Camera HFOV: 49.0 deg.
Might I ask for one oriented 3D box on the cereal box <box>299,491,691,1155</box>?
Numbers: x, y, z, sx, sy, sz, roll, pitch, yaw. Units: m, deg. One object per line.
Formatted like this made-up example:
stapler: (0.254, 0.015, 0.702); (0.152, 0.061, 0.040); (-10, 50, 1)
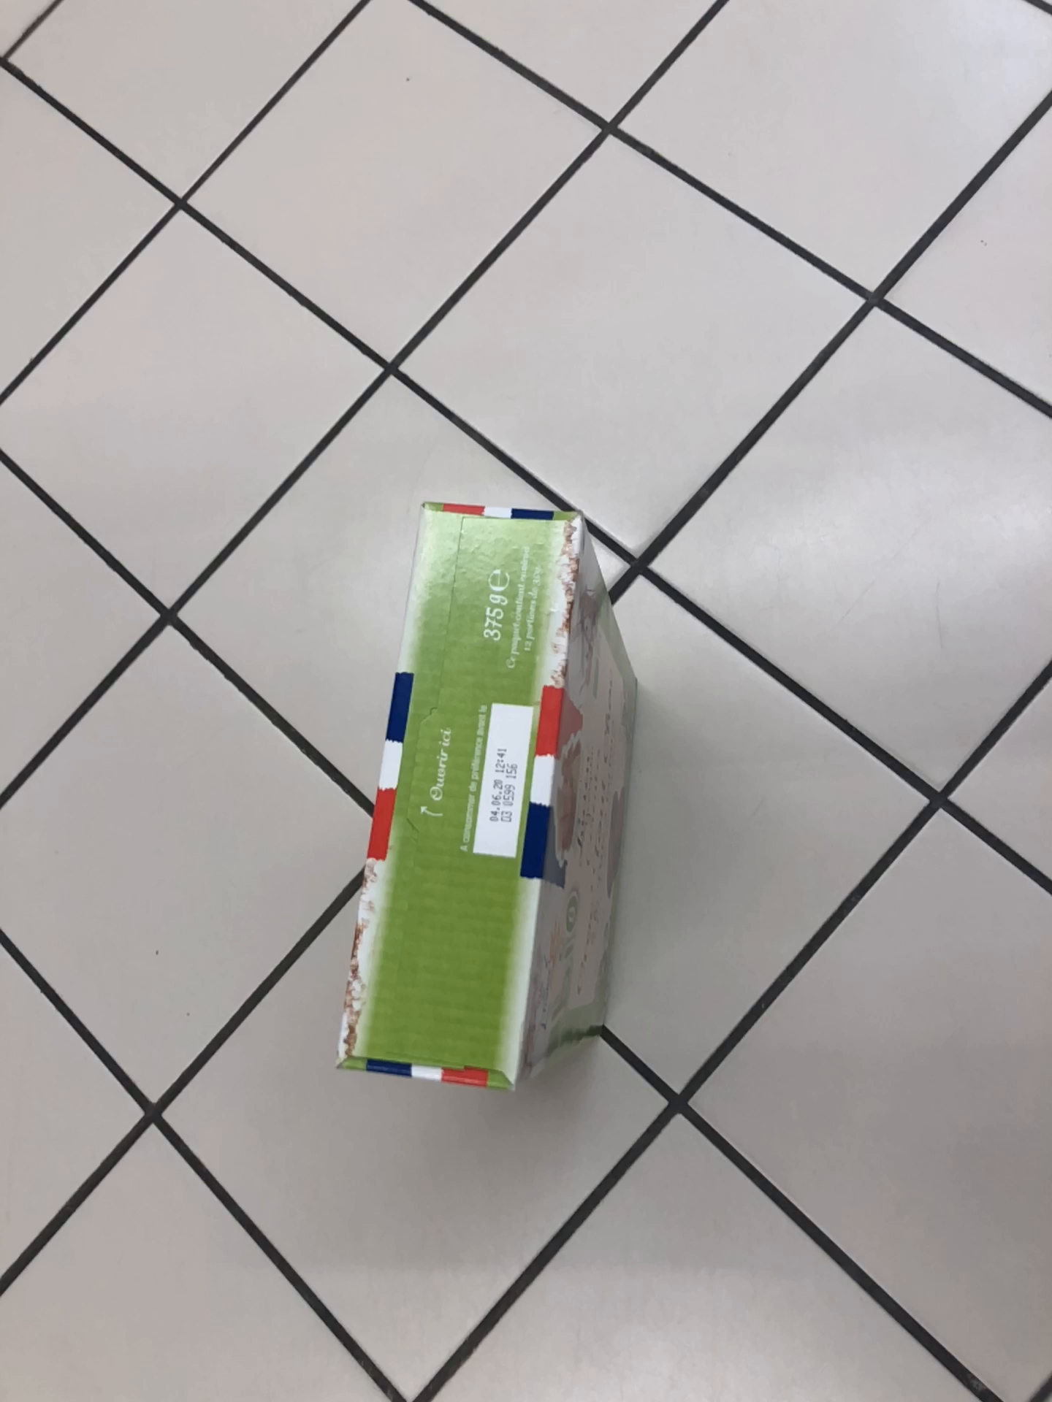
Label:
cereal box: (0.009, 0.057, 0.475); (0.080, 0.240, 0.200); (6, 78, 13)
